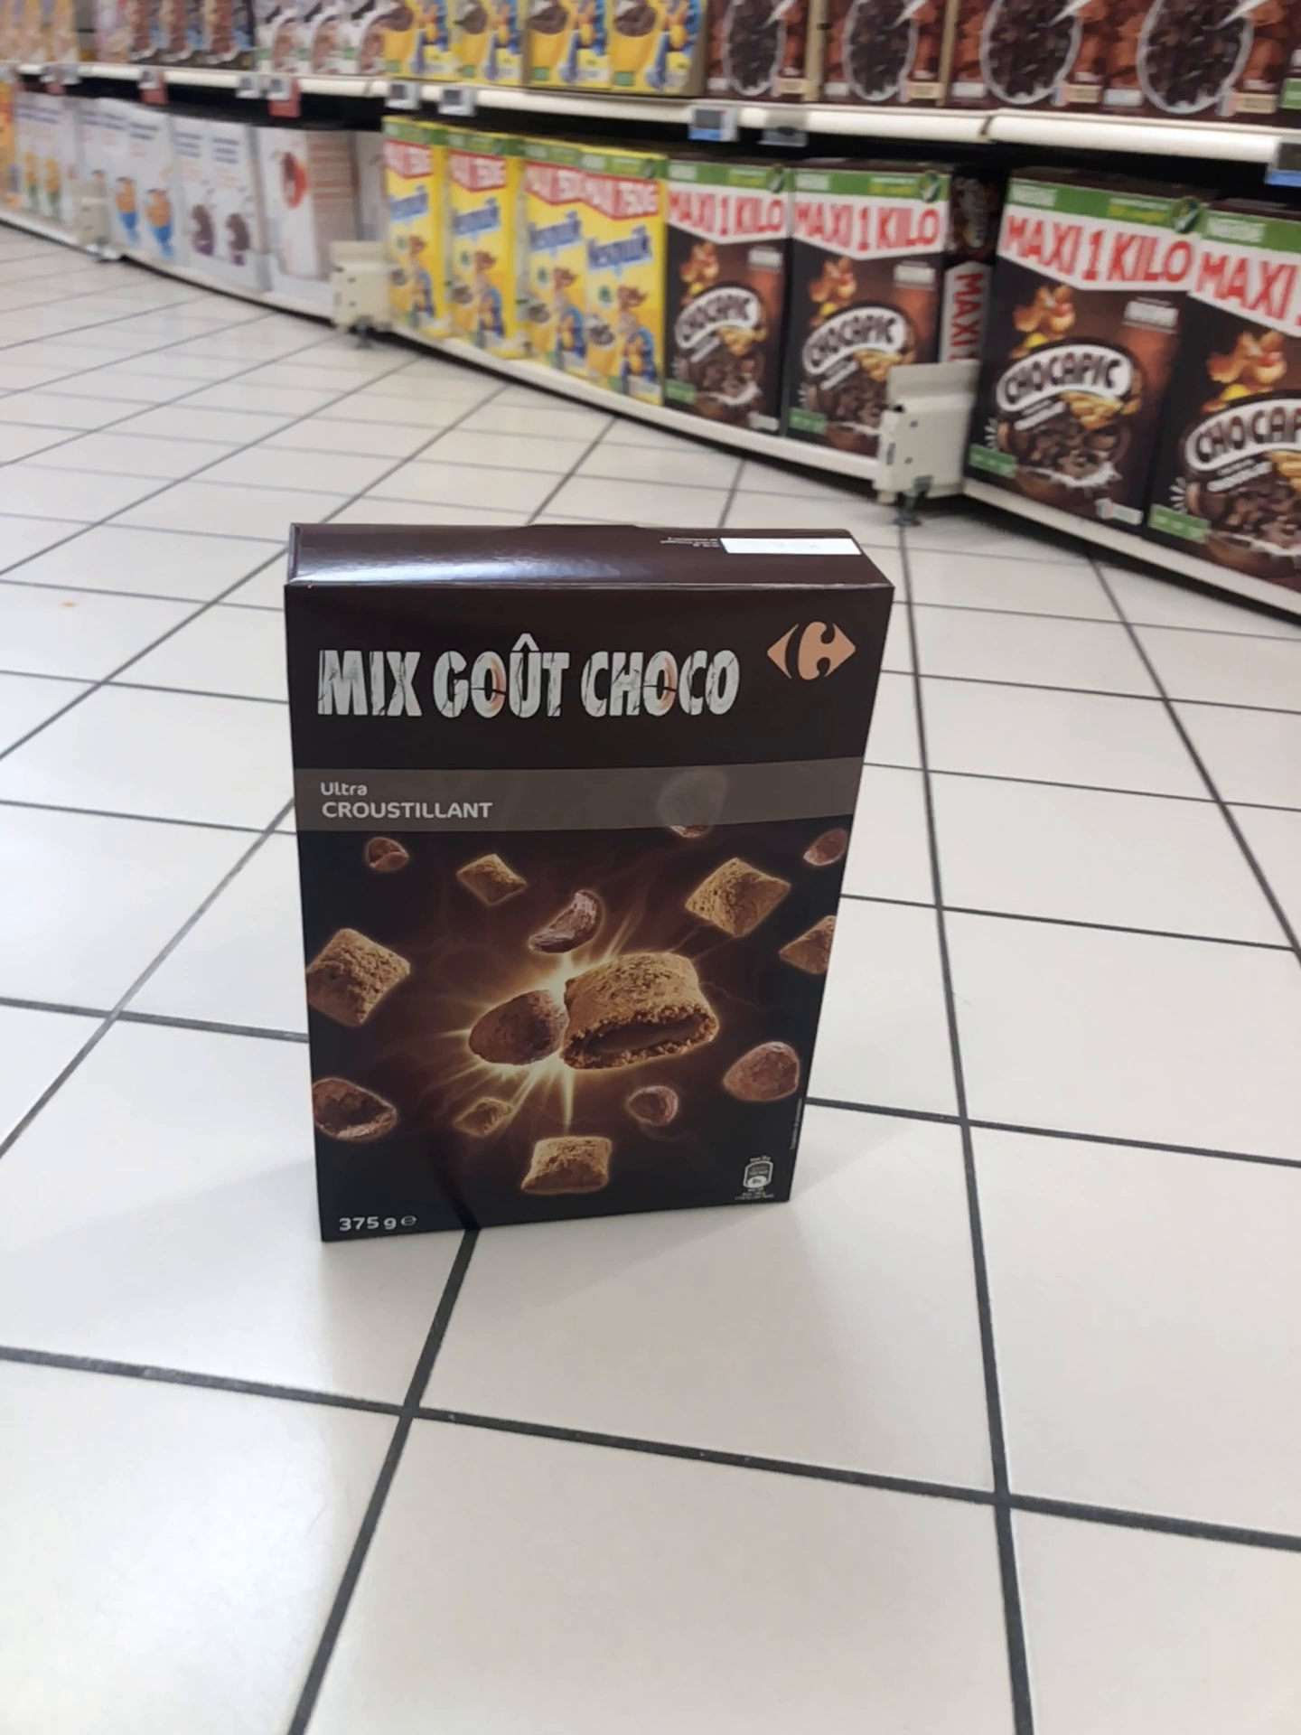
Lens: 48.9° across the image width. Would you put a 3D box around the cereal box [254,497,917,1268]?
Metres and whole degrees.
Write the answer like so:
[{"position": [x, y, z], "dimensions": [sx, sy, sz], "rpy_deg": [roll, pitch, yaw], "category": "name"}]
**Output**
[{"position": [-0.032, 0.010, 0.526], "dimensions": [0.200, 0.268, 0.080], "rpy_deg": [-2, 31, -13], "category": "cereal box"}]
